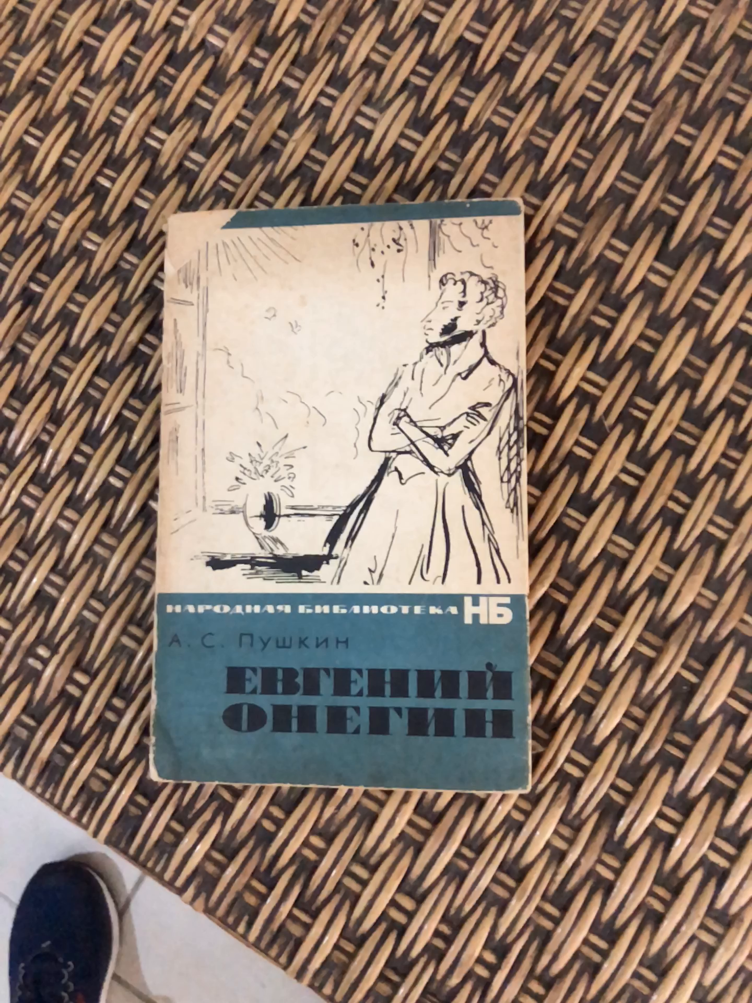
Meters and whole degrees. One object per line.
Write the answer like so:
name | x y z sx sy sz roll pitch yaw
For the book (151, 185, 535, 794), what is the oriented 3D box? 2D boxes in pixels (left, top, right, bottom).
book | -0.010 -0.006 0.277 0.120 0.020 0.190 0 85 7
